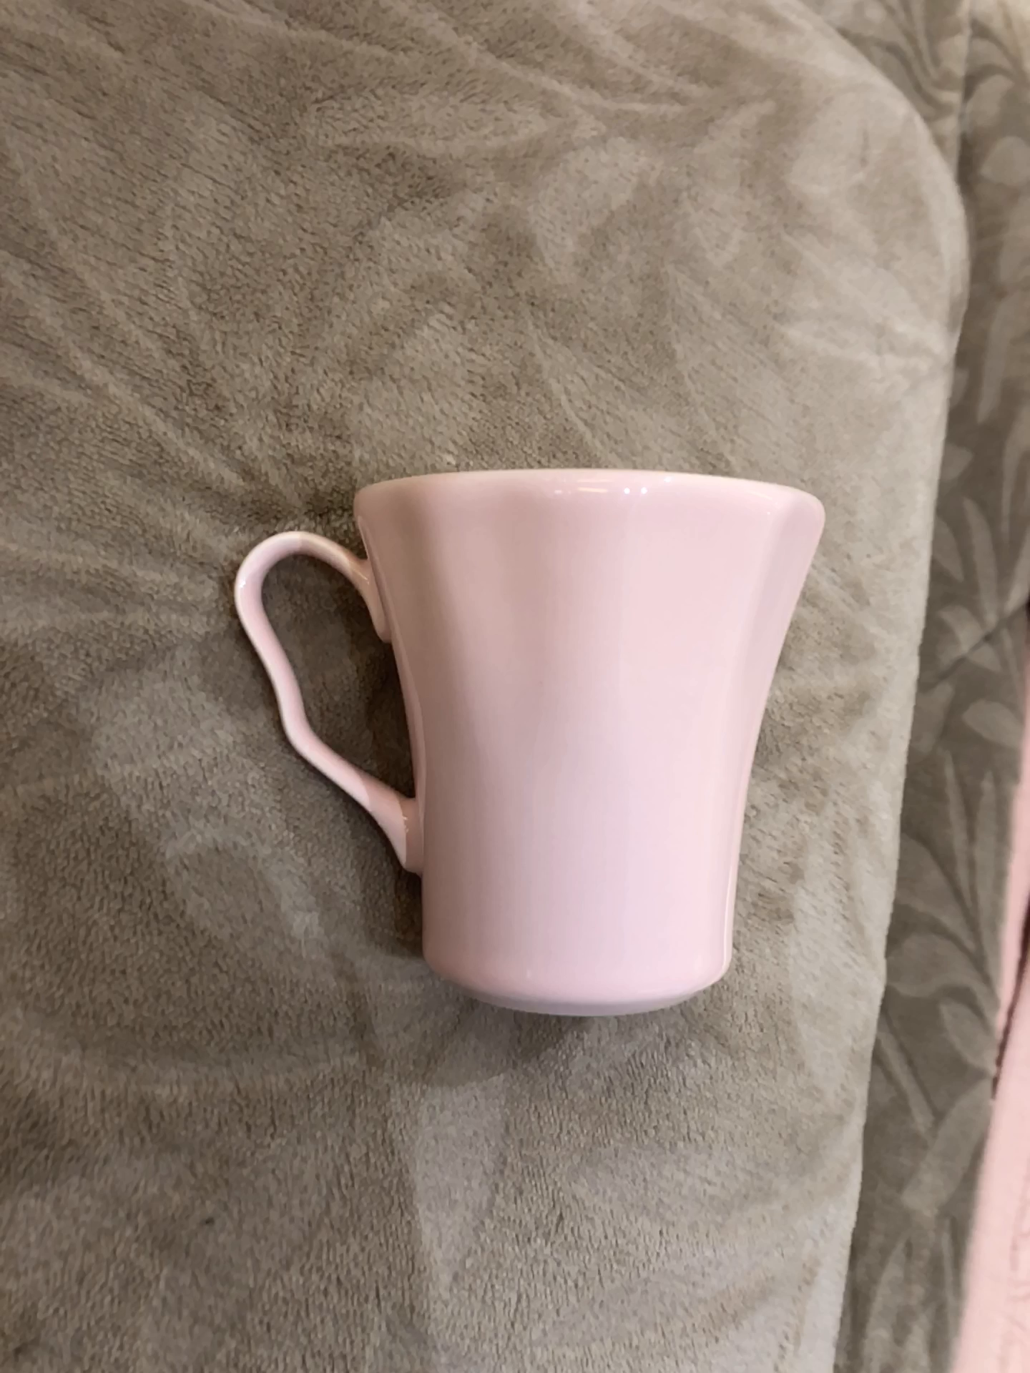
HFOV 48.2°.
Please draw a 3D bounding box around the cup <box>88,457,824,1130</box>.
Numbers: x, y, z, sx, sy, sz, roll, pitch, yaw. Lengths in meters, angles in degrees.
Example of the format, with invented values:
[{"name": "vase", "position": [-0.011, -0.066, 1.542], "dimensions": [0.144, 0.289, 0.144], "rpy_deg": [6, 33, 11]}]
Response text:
[{"name": "cup", "position": [-0.006, 0.015, 0.192], "dimensions": [0.100, 0.070, 0.090], "rpy_deg": [-1, 90, 5]}]
